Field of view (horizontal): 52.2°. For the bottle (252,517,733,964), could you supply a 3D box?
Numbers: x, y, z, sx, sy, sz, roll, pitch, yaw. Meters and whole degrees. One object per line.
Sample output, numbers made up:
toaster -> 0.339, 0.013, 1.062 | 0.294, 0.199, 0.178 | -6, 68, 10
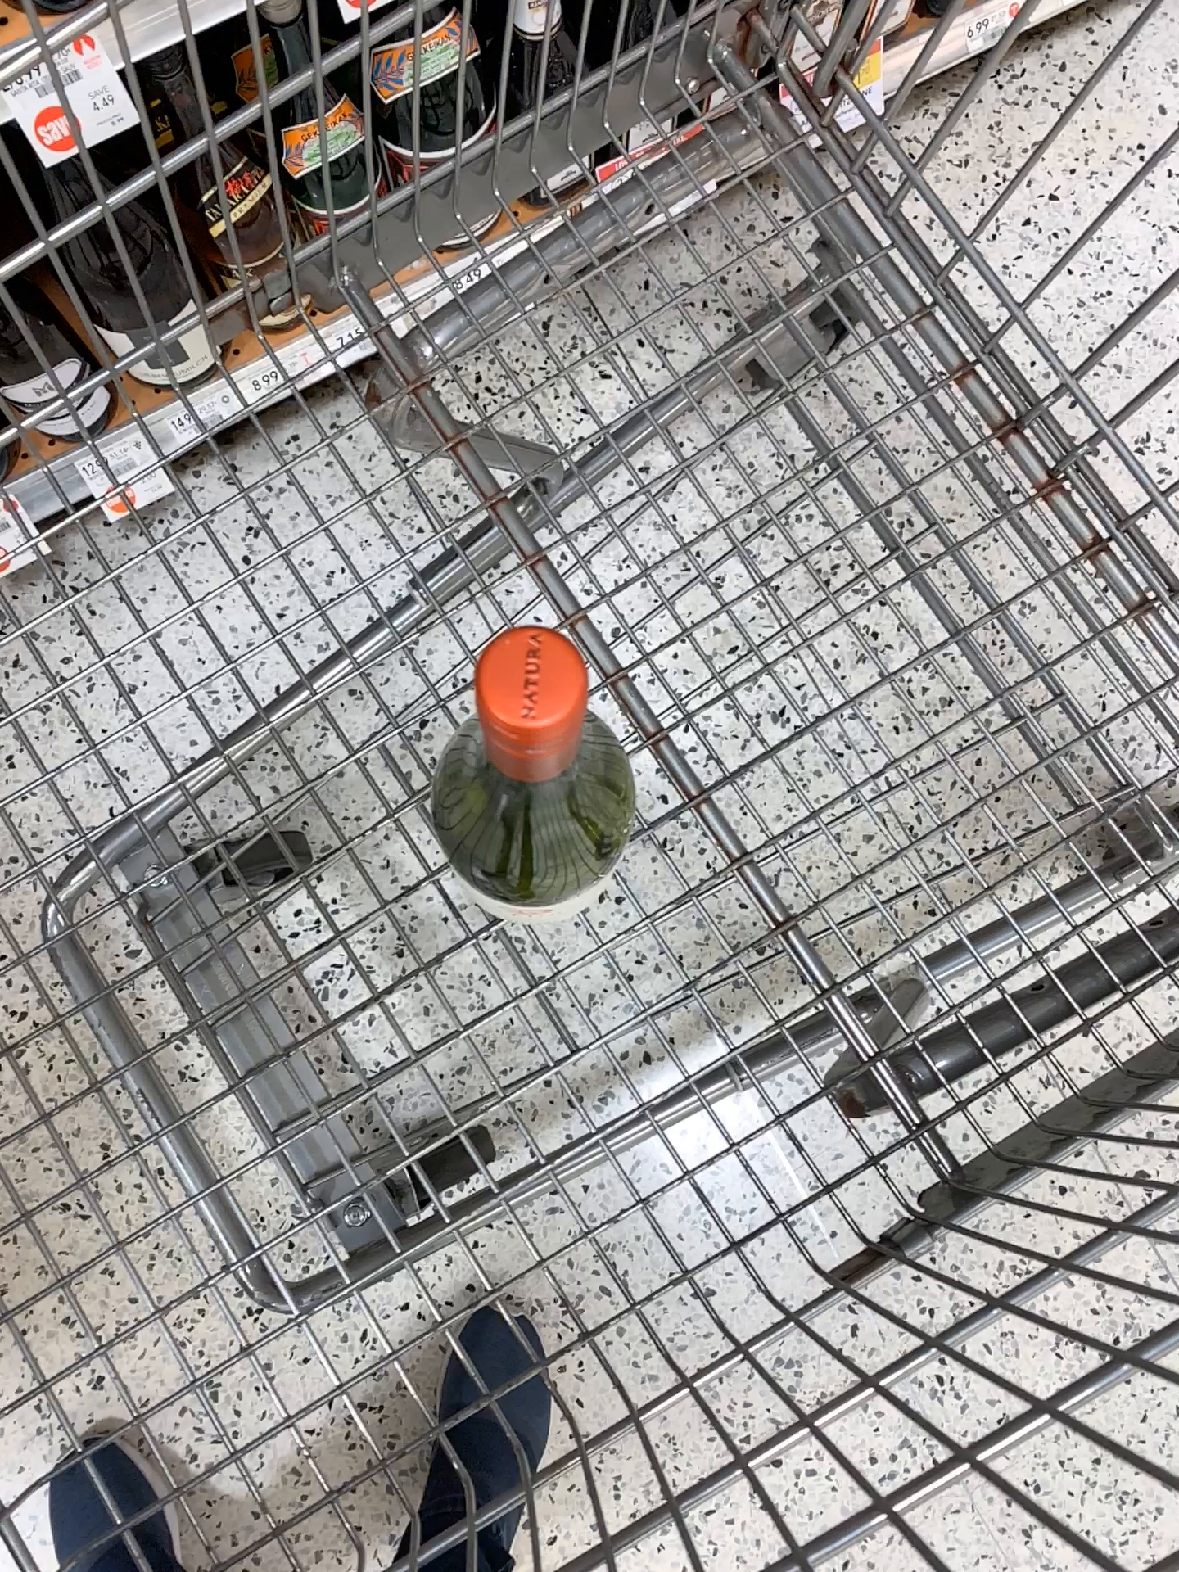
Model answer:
bottle -> -0.022, 0.011, 0.409 | 0.090, 0.300, 0.080 | 11, 81, 1
